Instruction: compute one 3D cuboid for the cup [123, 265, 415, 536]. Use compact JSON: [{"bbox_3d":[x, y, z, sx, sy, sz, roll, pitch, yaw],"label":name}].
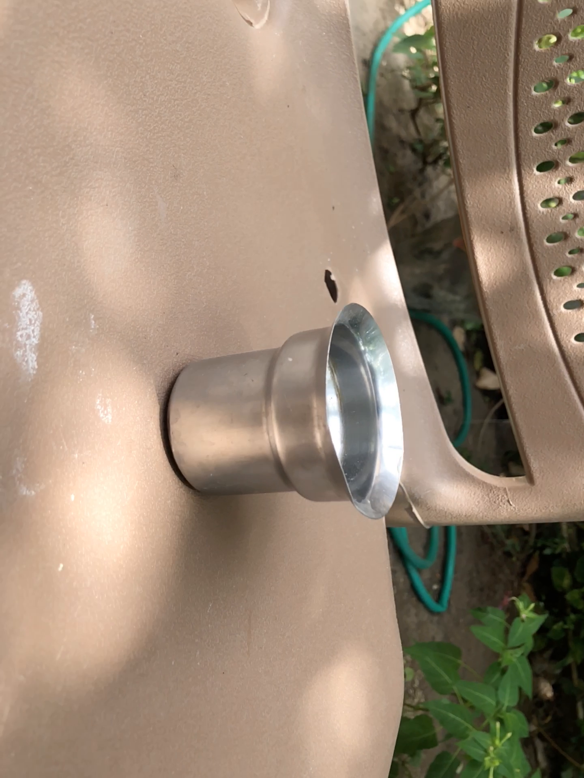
[{"bbox_3d":[-0.004,0.009,0.215,0.060,0.069,0.070,28,62,-56],"label":"cup"}]
